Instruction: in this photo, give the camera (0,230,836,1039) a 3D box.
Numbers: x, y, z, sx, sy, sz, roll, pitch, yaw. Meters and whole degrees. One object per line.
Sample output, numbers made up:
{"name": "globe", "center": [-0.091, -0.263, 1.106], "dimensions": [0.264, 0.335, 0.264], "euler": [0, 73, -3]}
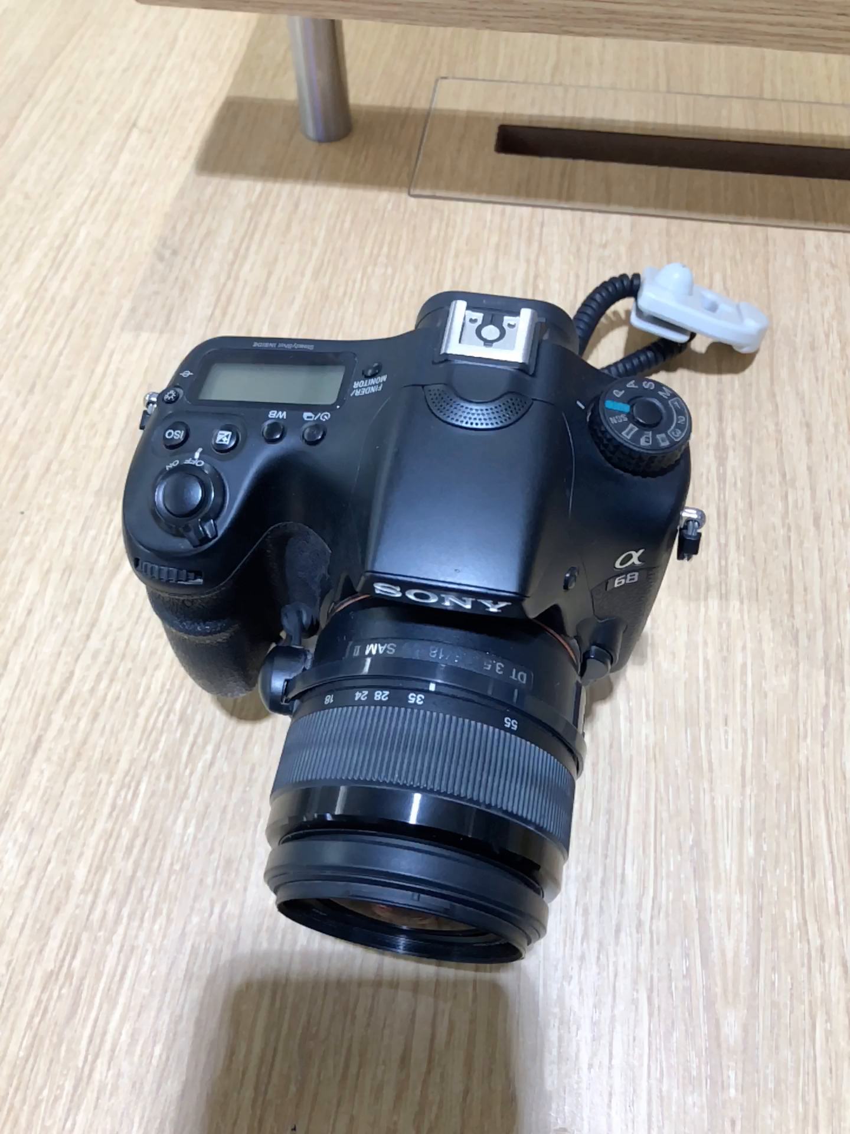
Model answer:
{"name": "camera", "center": [-0.005, 0.011, 0.197], "dimensions": [0.140, 0.080, 0.131], "euler": [6, 58, 6]}
